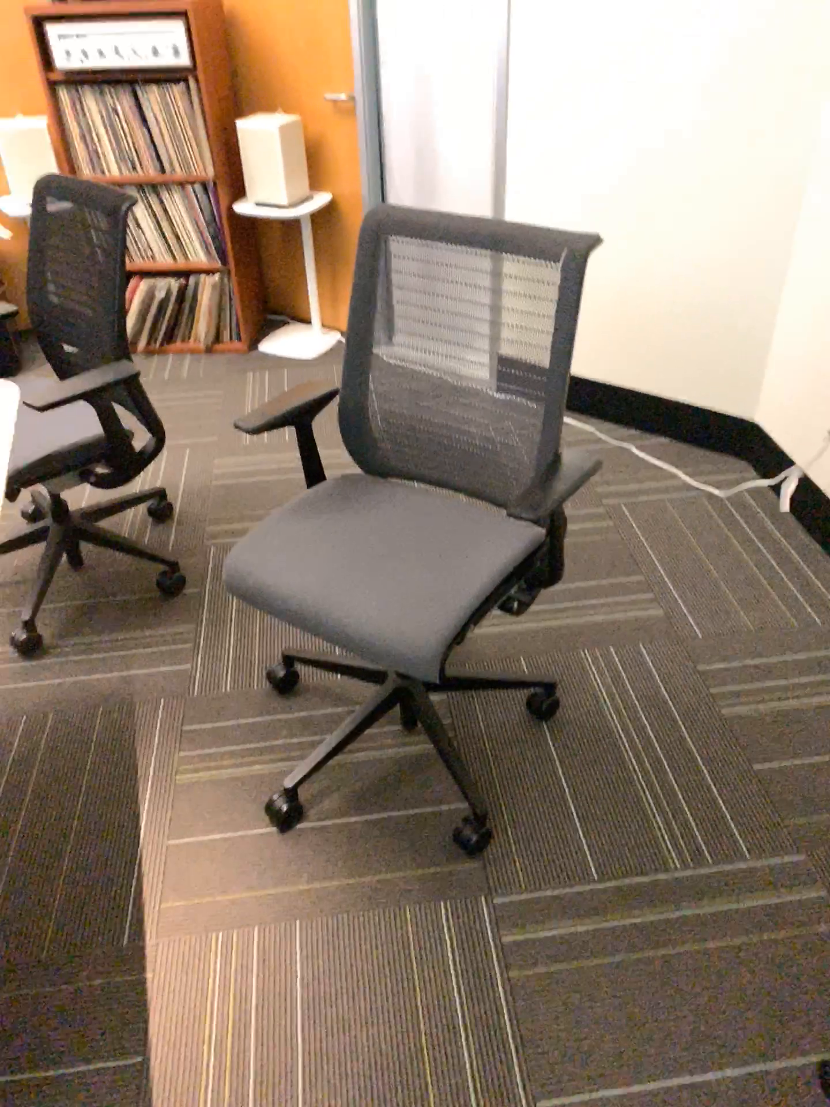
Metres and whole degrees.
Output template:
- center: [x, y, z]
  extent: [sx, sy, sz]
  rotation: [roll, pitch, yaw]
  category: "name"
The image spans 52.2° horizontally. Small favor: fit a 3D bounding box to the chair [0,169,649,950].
- center: [-0.123, -0.038, 1.676]
  extent: [0.792, 1.113, 0.803]
  rotation: [18, 41, 25]
  category: "chair"
